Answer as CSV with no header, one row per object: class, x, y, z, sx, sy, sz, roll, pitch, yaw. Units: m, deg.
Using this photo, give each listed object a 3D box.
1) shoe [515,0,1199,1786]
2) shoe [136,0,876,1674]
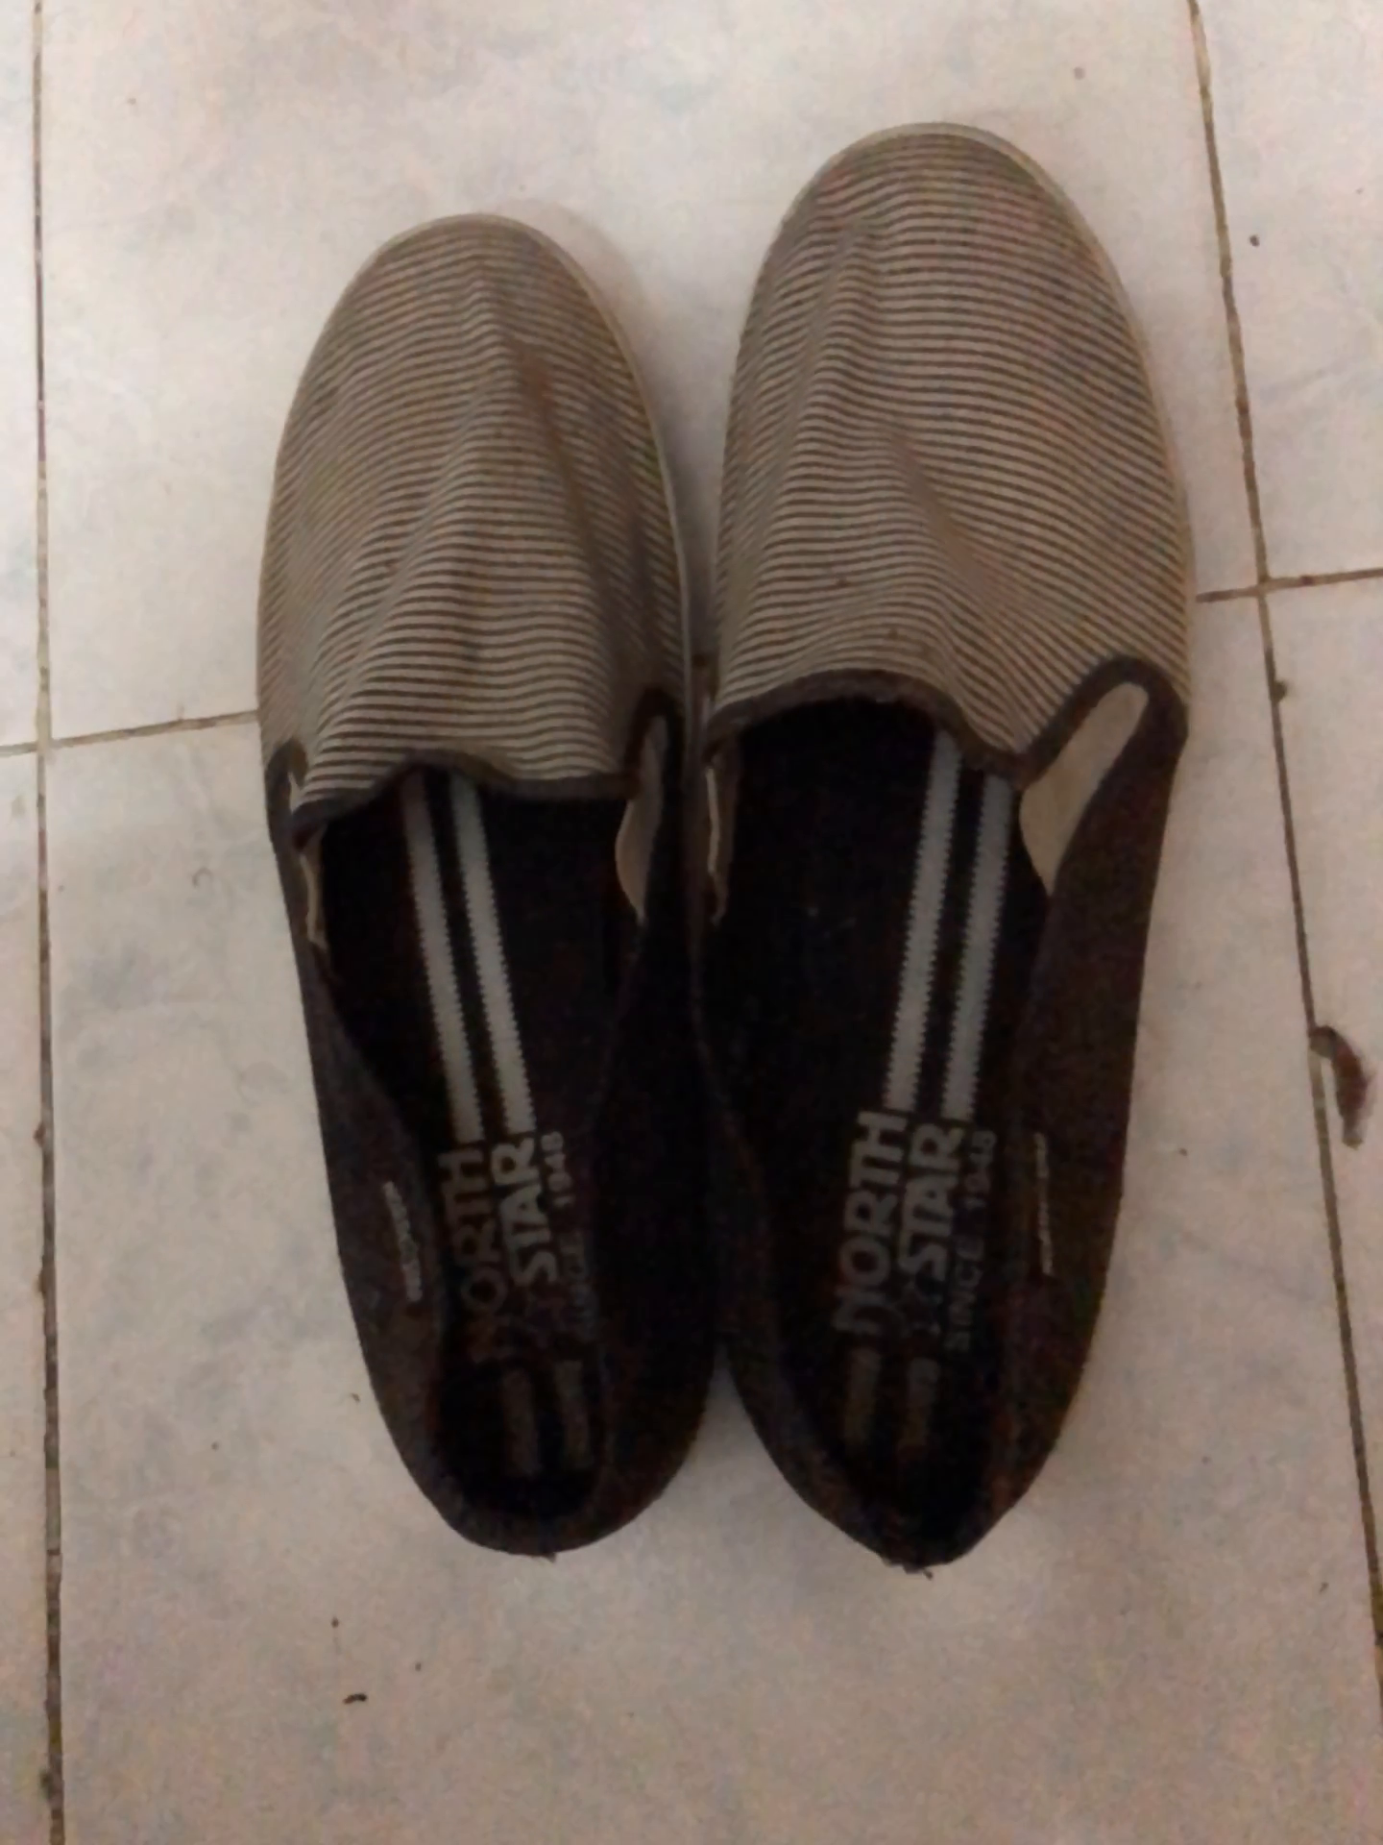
shoe,0.040,-0.030,0.314,0.110,0.090,0.340,1,83,12
shoe,-0.039,-0.027,0.338,0.110,0.090,0.330,-8,81,11
